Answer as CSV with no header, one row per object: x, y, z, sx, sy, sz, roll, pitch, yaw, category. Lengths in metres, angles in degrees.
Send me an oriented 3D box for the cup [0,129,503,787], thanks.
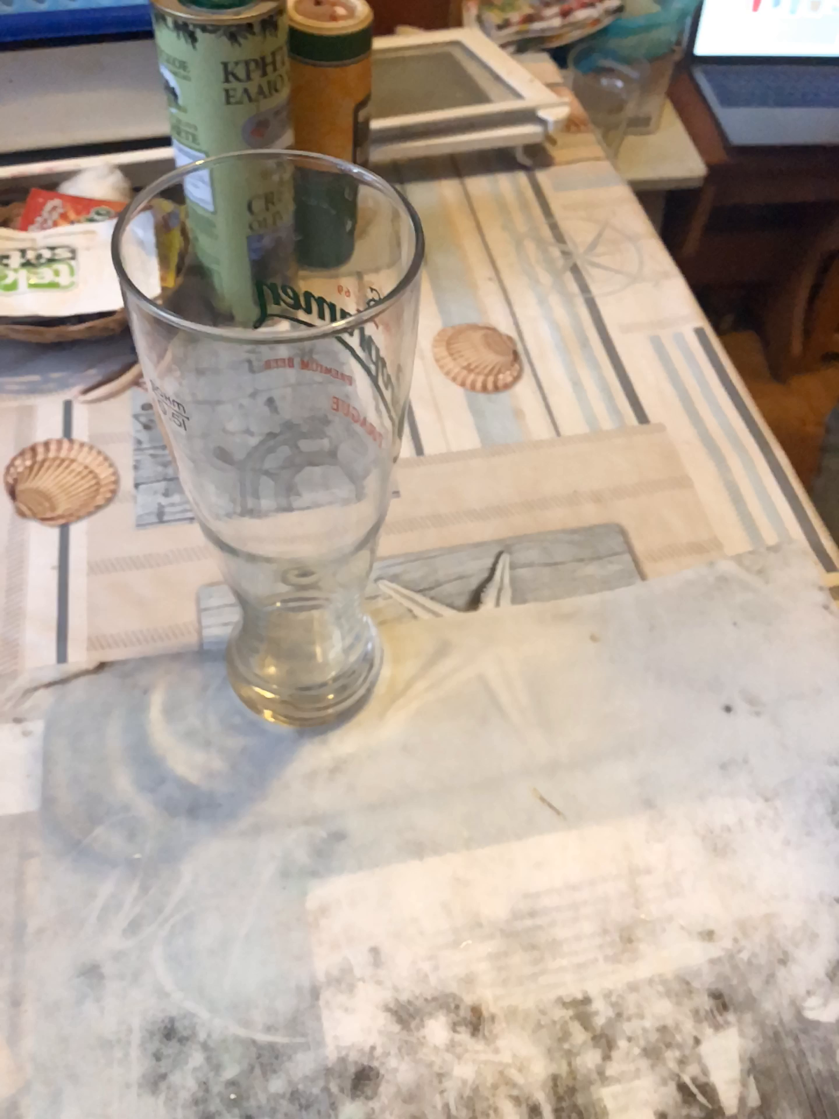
-0.049,-0.021,0.319,0.098,0.192,0.089,-28,60,-22,cup
